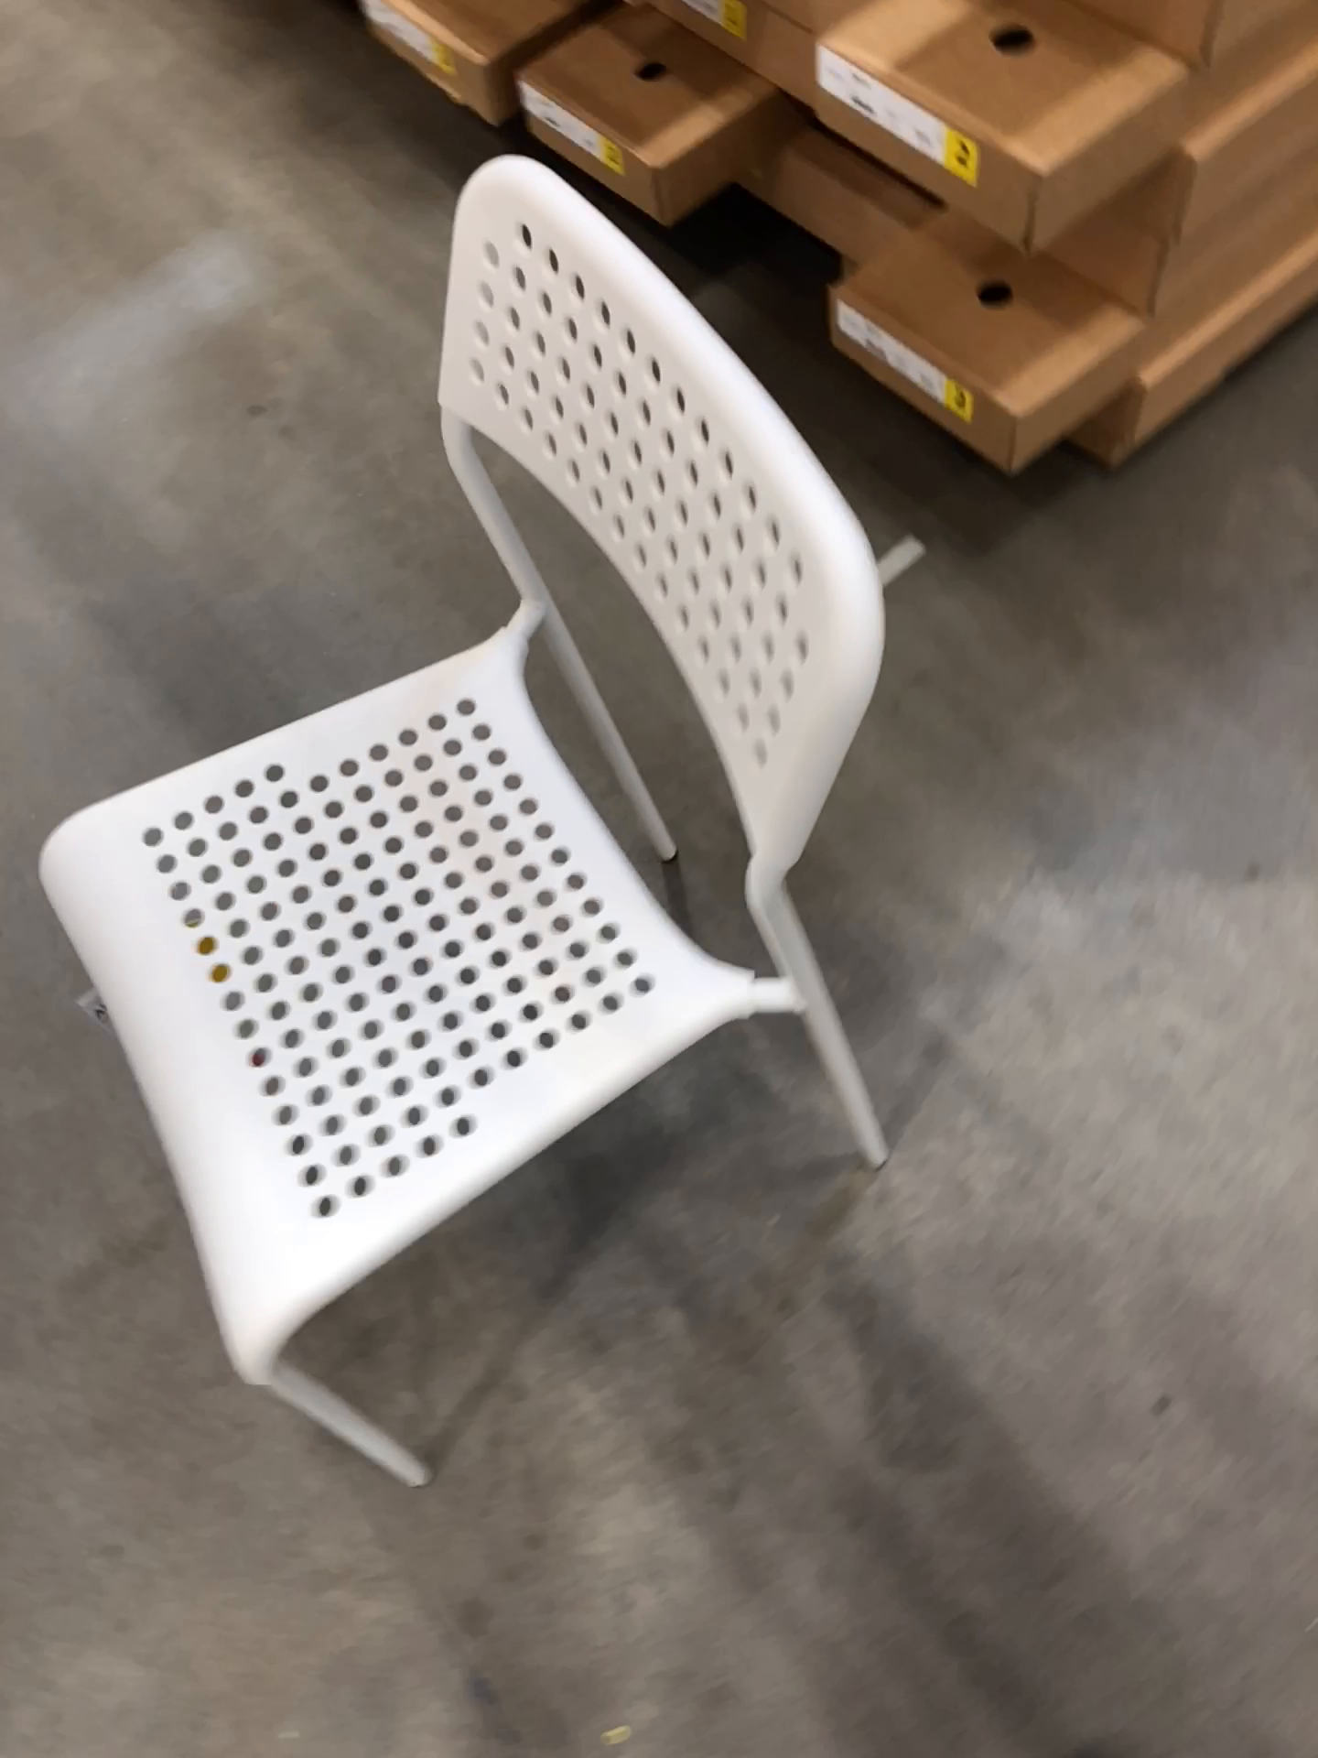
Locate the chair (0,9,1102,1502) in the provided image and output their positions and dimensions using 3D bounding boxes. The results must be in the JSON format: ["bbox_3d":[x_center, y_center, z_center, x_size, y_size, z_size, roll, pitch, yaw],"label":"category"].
[{"bbox_3d":[-0.129,0.011,0.910,0.510,0.699,0.461,-29,63,-7],"label":"chair"}]
